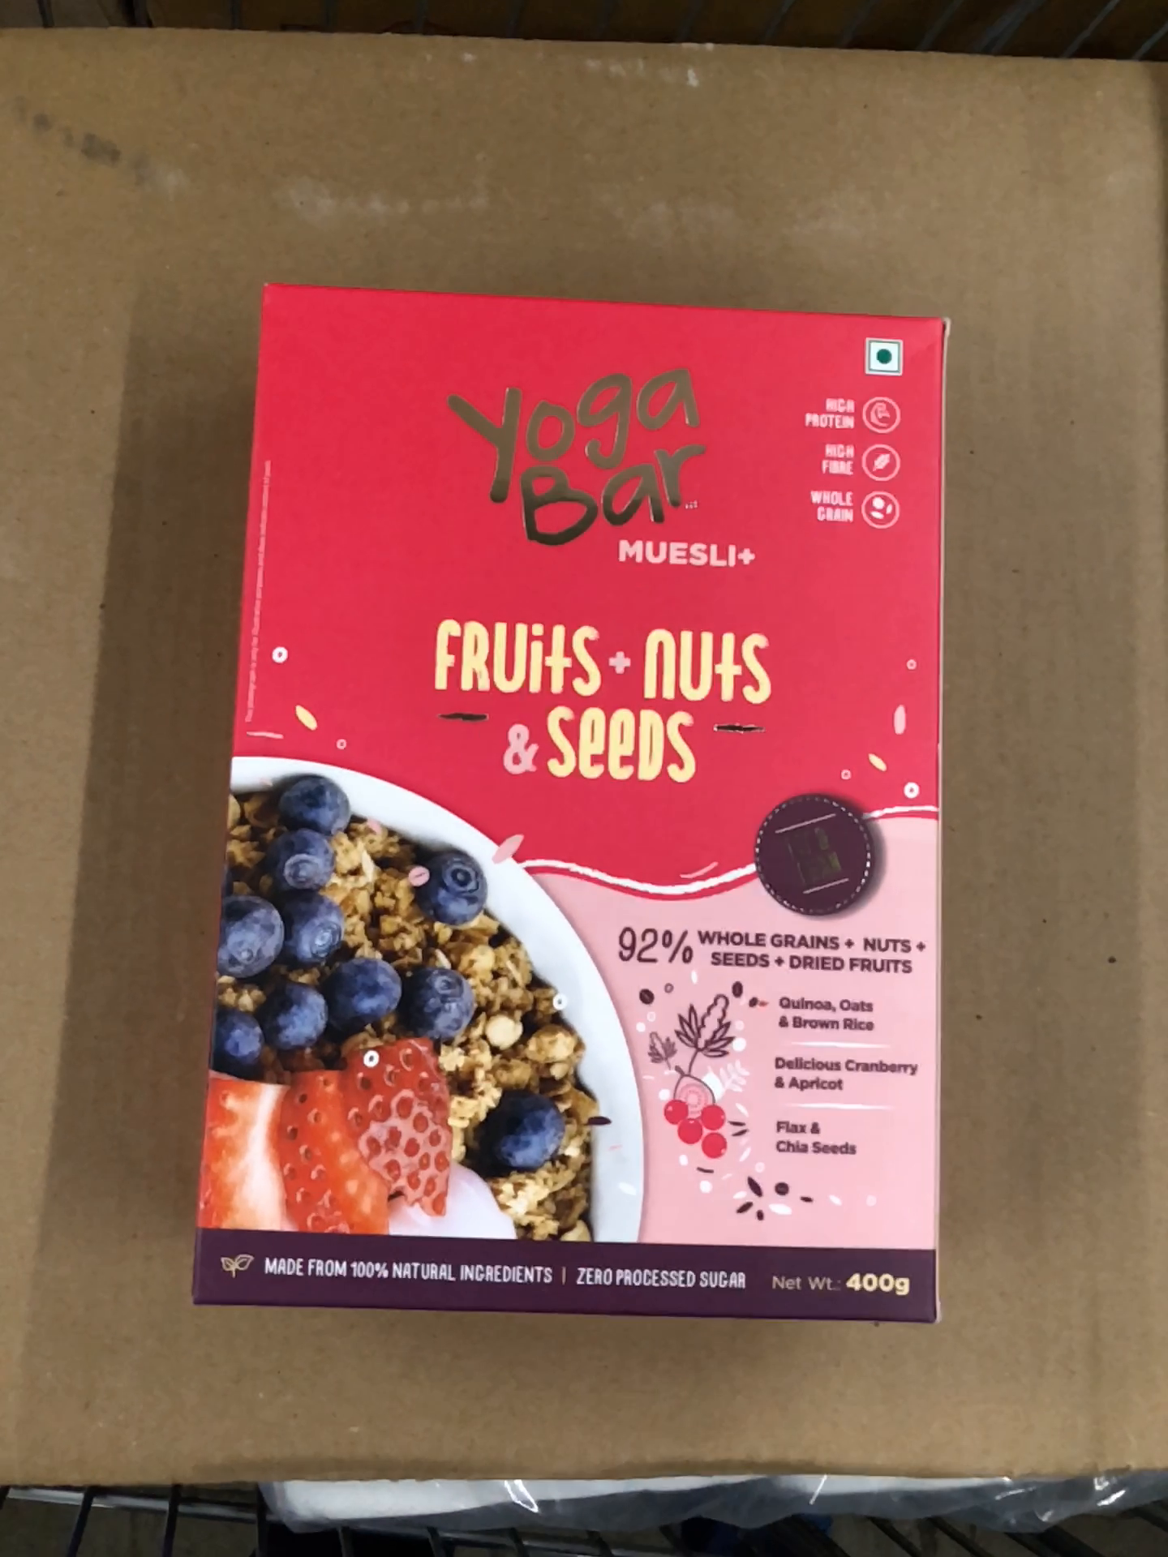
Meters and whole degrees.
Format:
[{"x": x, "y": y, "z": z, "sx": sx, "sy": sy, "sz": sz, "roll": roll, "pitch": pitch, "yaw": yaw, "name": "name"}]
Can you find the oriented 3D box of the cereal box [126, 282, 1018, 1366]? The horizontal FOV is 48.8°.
[{"x": 0.001, "y": 0.010, "z": 0.289, "sx": 0.170, "sy": 0.060, "sz": 0.210, "roll": 3, "pitch": 85, "yaw": -3, "name": "cereal box"}]
